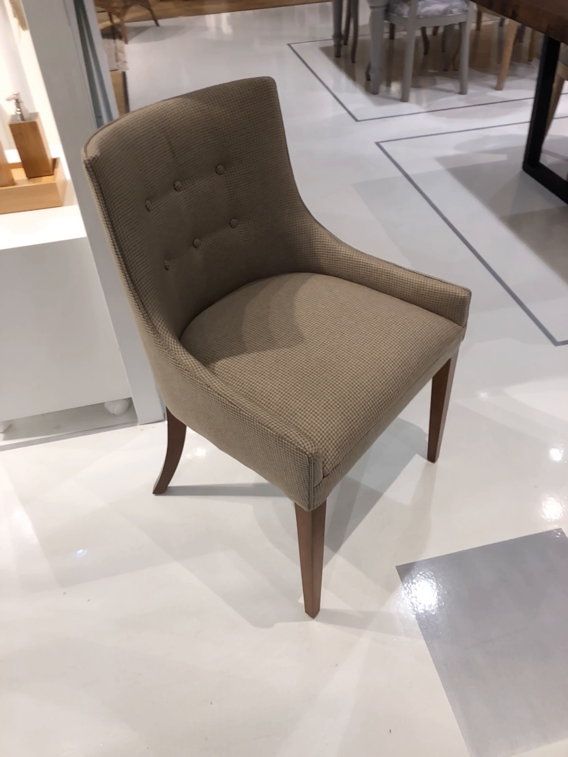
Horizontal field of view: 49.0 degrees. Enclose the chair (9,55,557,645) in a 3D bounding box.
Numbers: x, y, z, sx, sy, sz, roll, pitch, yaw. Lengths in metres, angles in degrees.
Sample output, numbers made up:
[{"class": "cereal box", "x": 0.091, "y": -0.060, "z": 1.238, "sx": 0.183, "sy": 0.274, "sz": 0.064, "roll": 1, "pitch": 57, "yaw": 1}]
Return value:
[{"class": "chair", "x": 0.023, "y": -0.080, "z": 1.208, "sx": 0.592, "sy": 0.794, "sz": 0.593, "roll": 28, "pitch": 50, "yaw": 31}]
